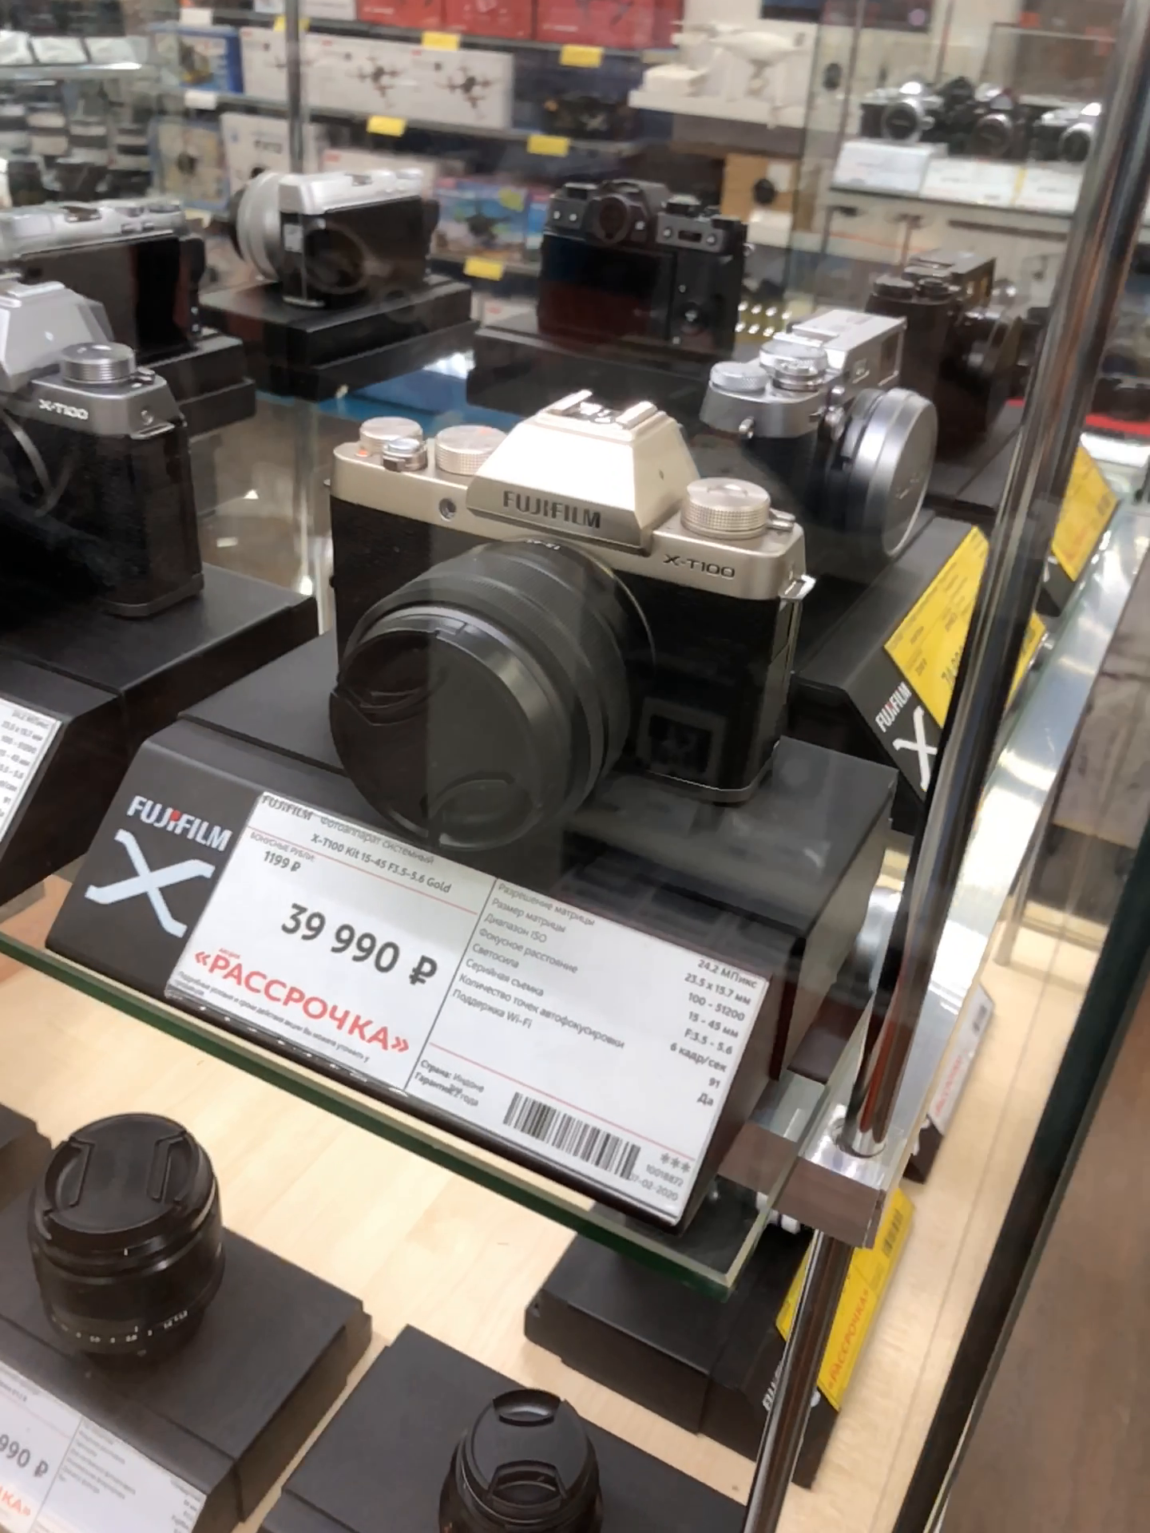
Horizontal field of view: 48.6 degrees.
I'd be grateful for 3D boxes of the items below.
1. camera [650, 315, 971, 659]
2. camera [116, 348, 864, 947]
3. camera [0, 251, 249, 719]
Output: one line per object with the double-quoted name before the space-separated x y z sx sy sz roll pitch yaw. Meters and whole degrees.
"camera" 0.084 -0.102 0.438 0.054 0.076 0.132 19 34 24
"camera" -0.016 -0.038 0.298 0.132 0.080 0.101 17 33 20
"camera" -0.188 -0.091 0.376 0.140 0.086 0.103 18 33 21
